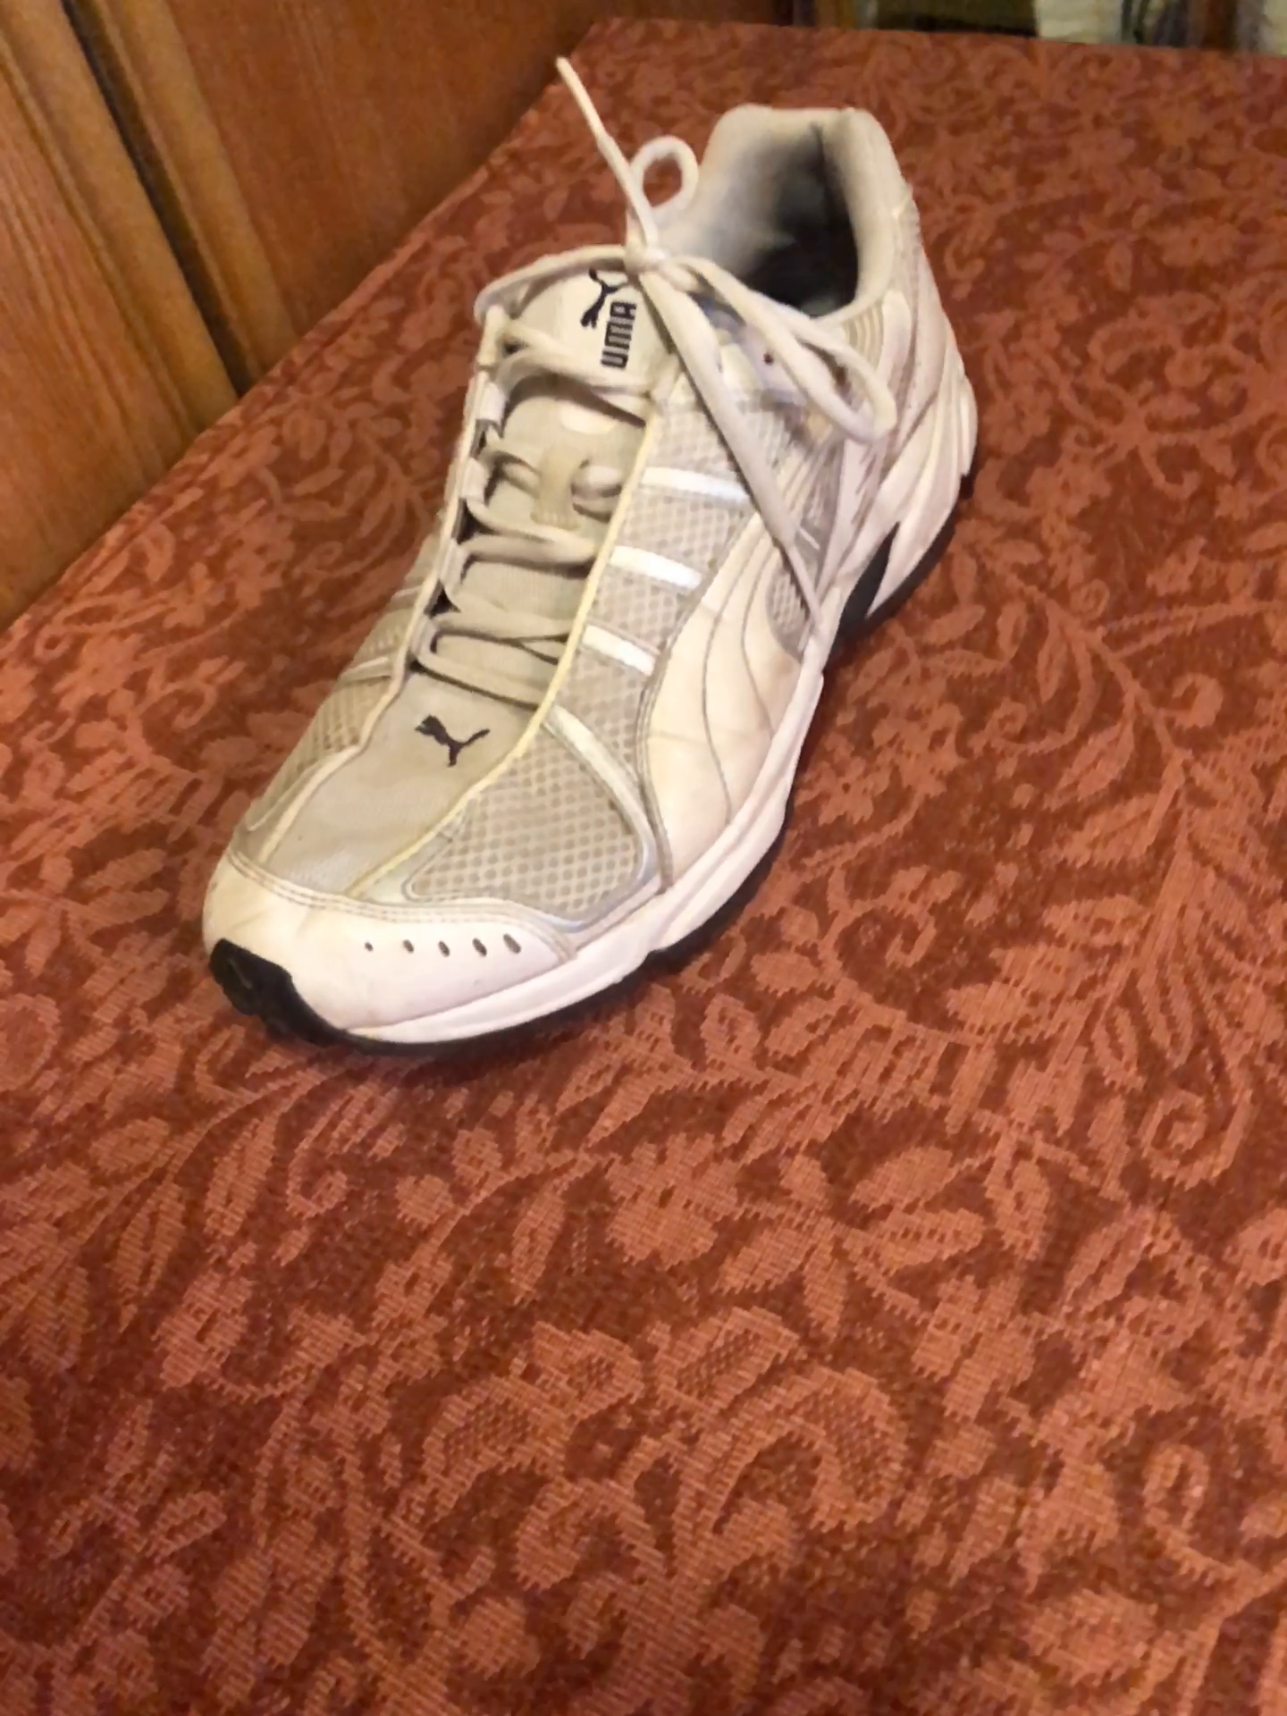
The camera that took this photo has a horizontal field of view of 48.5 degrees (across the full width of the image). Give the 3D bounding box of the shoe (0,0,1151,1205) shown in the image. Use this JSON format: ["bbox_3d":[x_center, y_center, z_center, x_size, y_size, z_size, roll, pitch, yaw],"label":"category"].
[{"bbox_3d":[0.003,-0.085,0.341,0.120,0.100,0.291,22,59,27],"label":"shoe"}]
